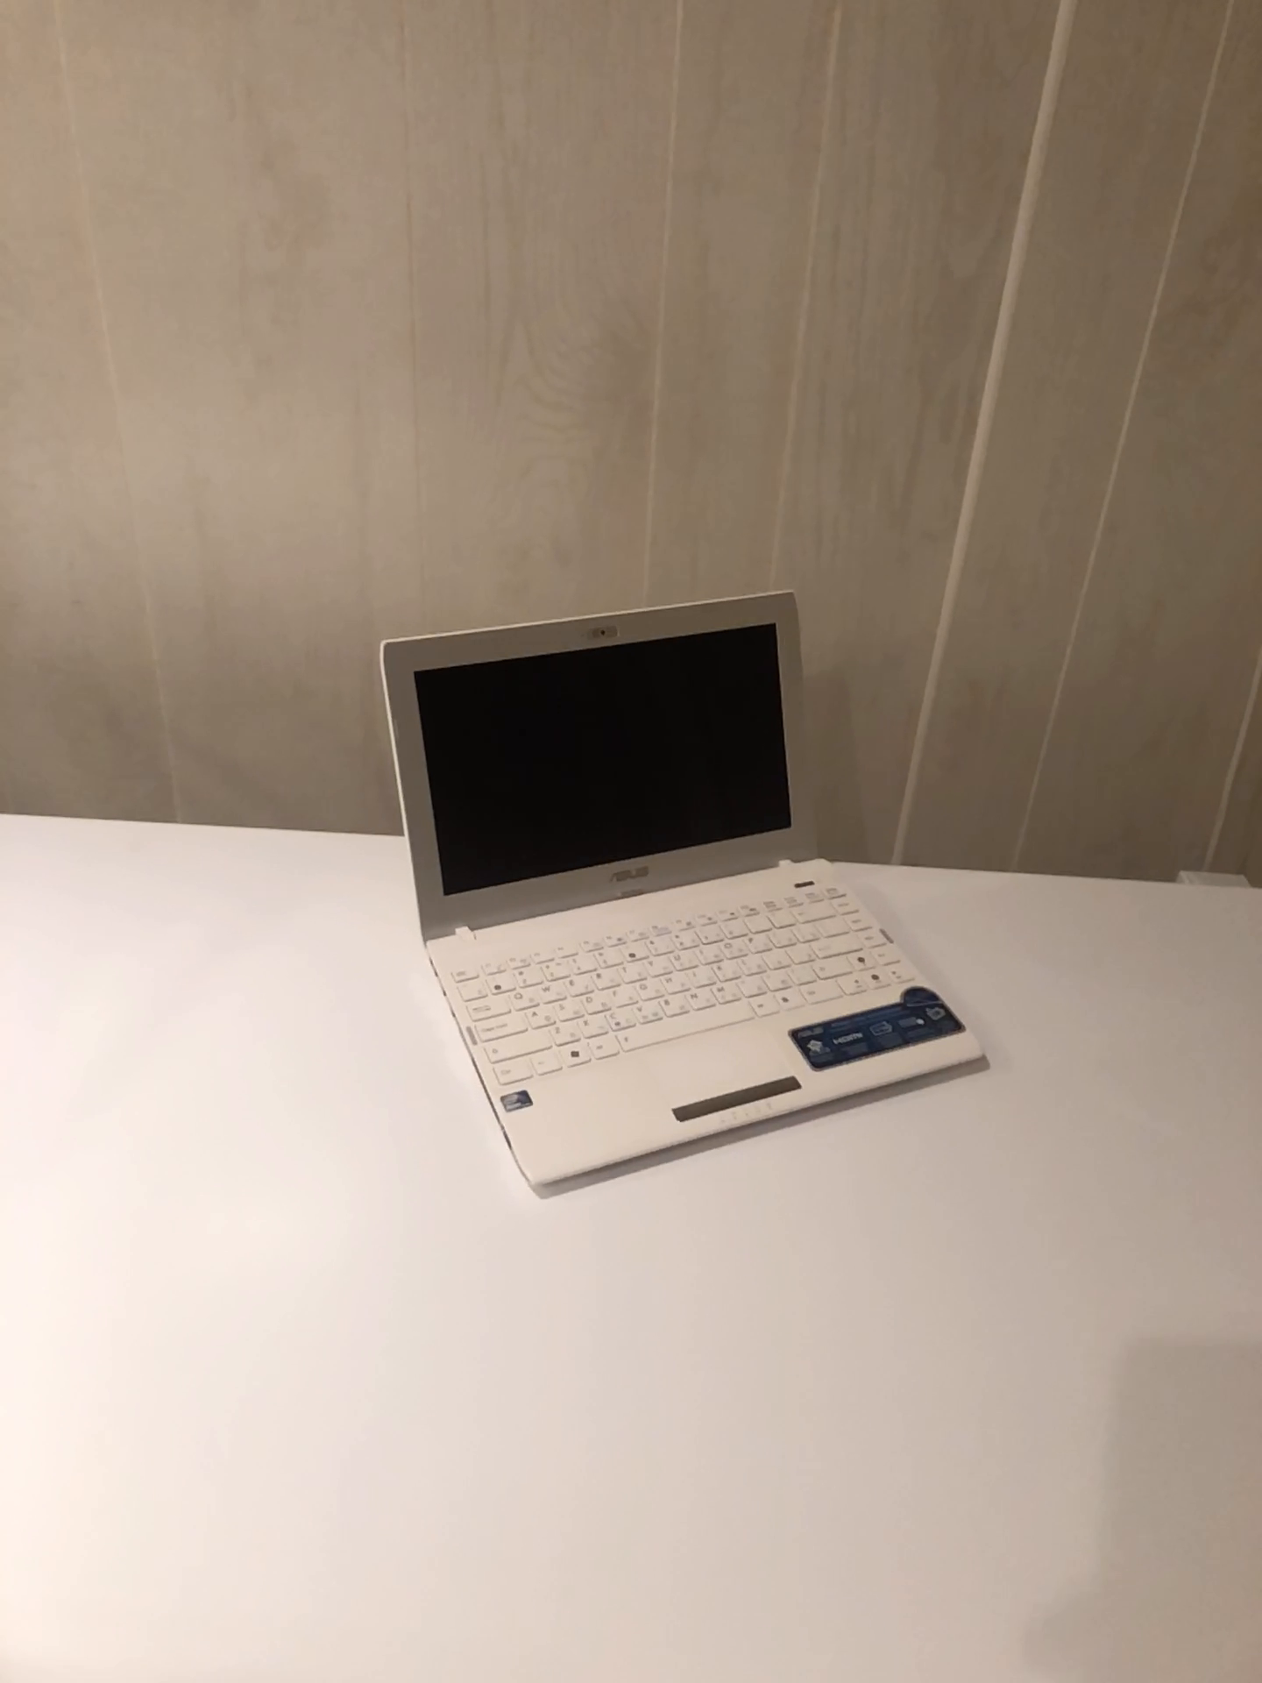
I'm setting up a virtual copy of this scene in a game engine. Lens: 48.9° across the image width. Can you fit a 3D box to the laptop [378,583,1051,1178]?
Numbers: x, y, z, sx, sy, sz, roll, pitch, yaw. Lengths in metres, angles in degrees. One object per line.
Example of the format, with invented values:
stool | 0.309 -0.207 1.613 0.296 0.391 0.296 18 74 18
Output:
laptop | 0.030 0.000 0.846 0.288 0.168 0.293 -11 39 -21
